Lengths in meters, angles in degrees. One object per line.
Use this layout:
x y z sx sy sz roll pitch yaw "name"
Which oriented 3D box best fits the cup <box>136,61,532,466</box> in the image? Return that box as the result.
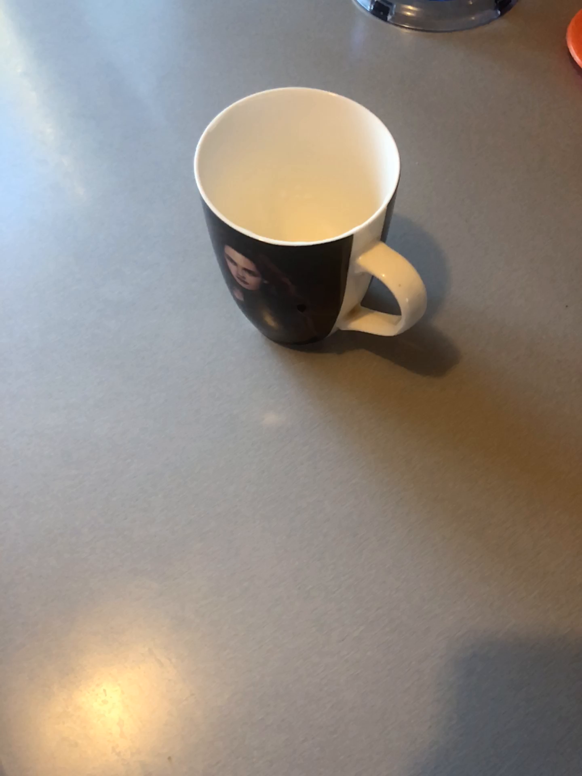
0.016 -0.055 0.299 0.090 0.100 0.130 -41 69 -17 "cup"
